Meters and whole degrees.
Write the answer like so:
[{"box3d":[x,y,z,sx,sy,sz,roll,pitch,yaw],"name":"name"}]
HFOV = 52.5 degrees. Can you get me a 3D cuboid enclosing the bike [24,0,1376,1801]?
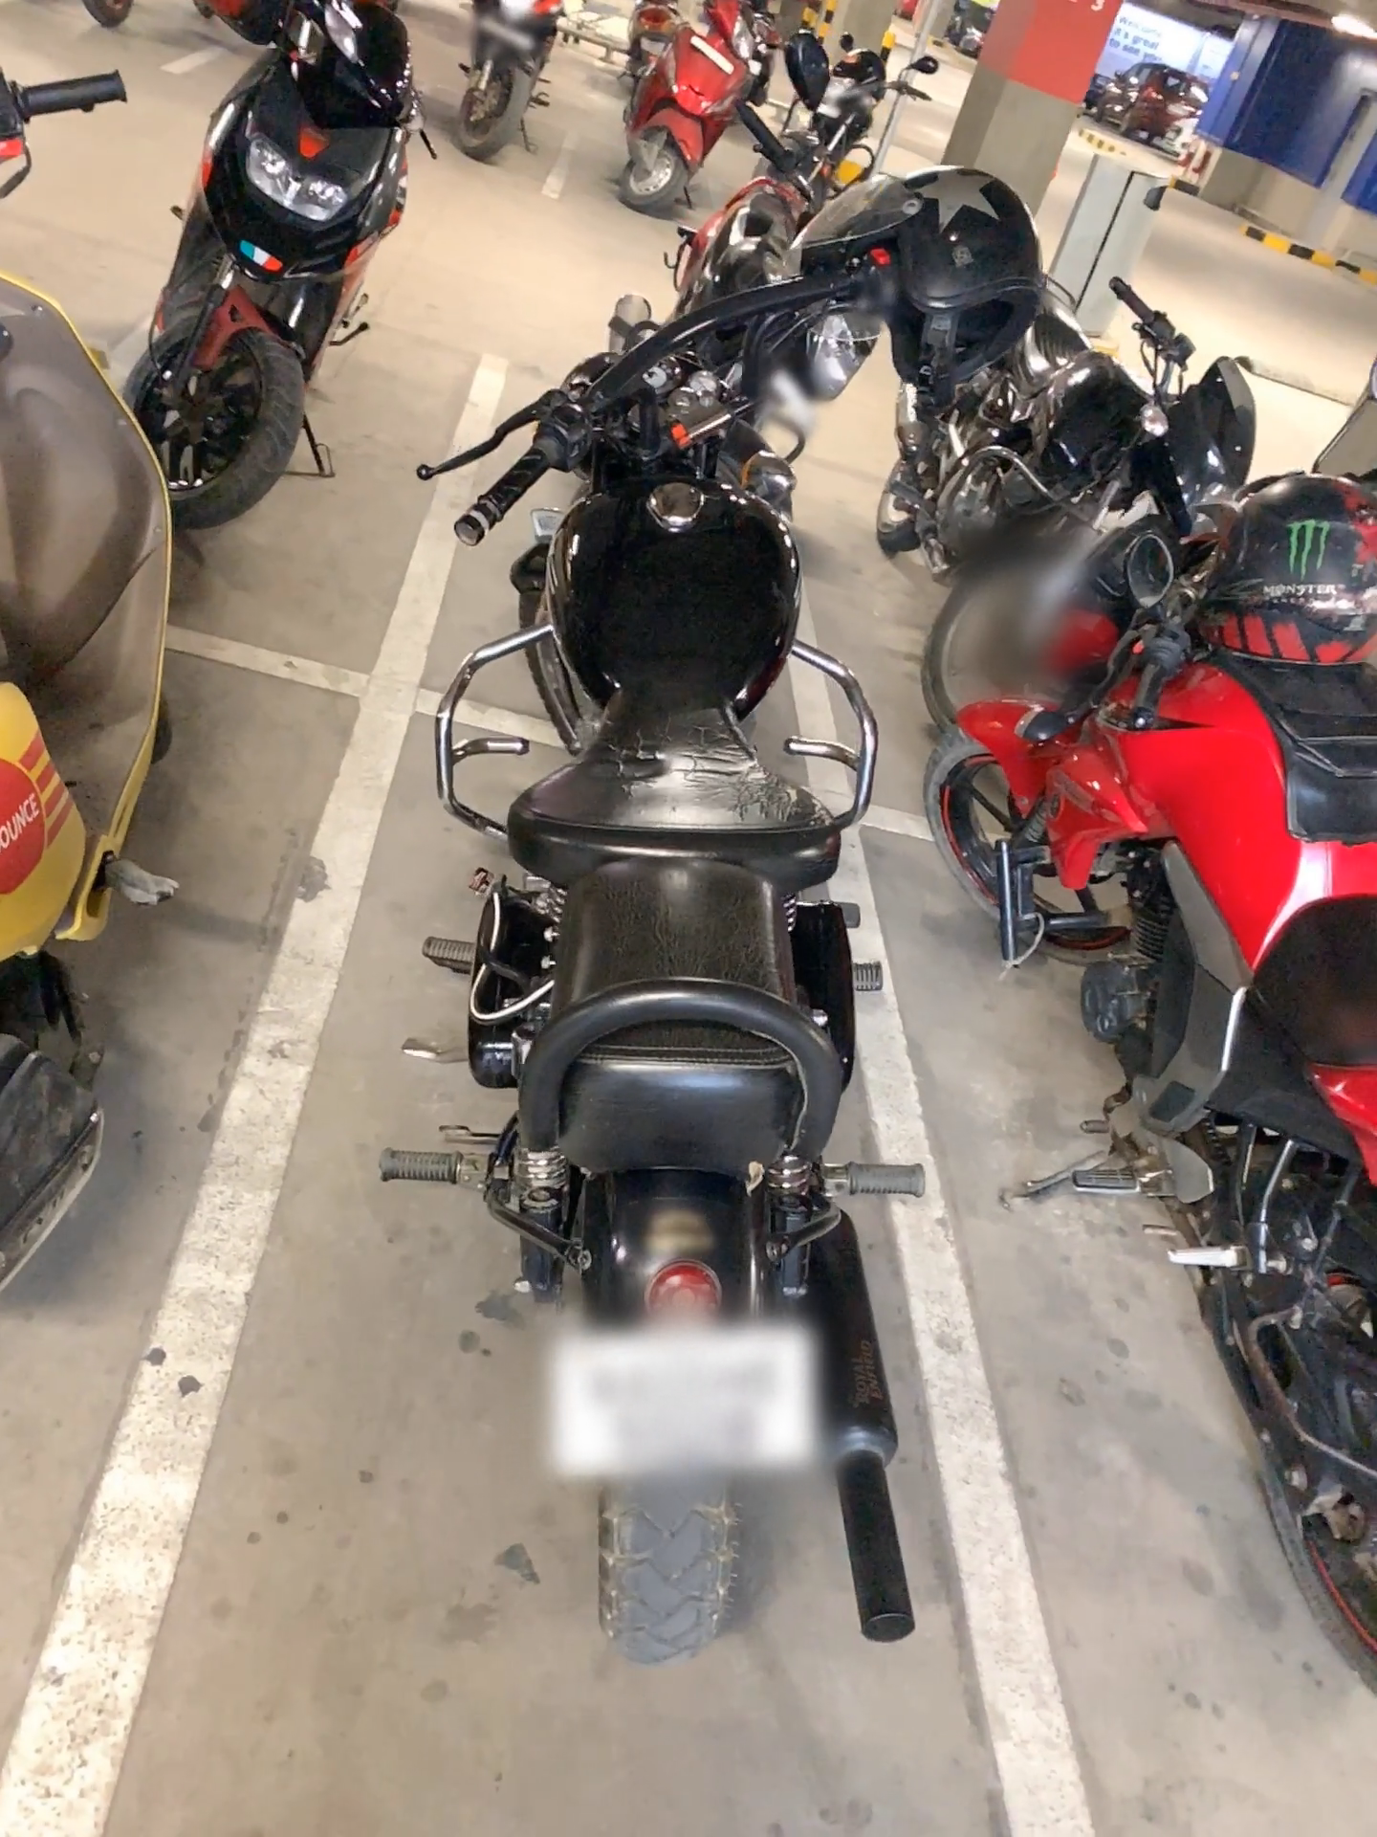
[{"box3d":[-0.226,-0.250,1.850,0.799,1.303,2.031,9,35,-17],"name":"bike"}]
